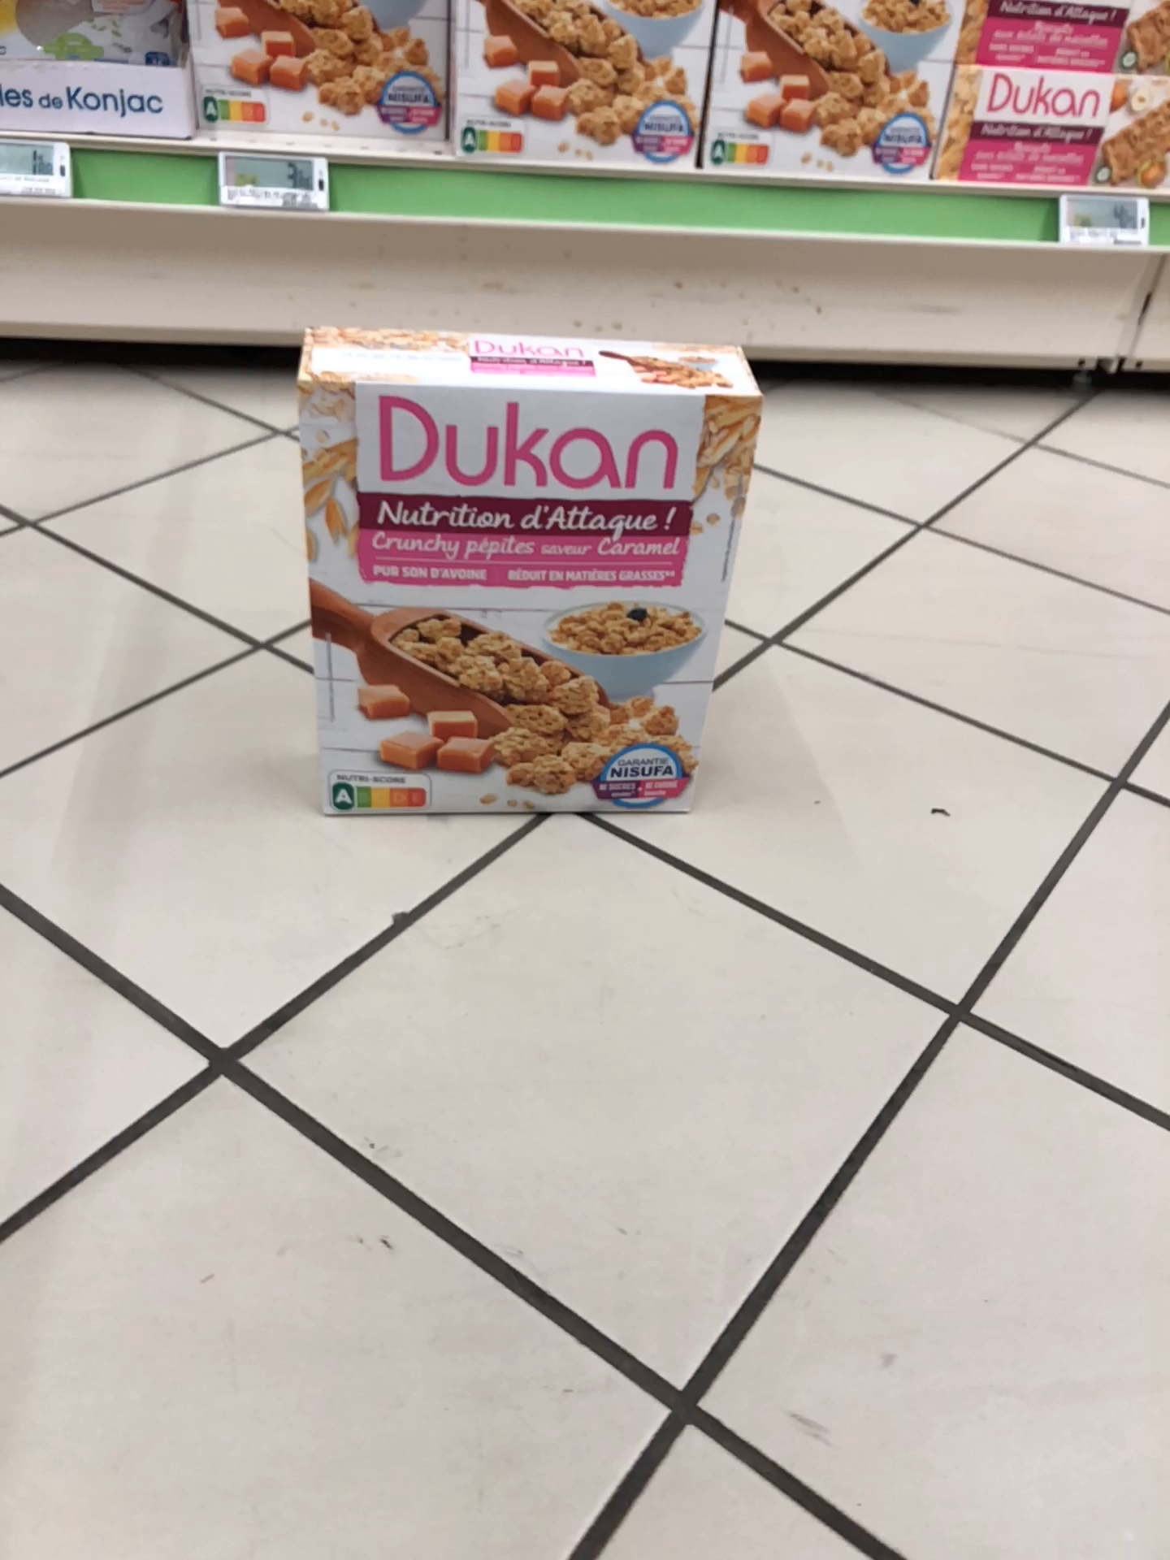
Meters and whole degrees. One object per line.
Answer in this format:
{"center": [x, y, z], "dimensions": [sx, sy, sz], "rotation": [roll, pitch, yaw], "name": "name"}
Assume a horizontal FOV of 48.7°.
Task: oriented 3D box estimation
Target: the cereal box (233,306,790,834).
{"center": [-0.034, -0.076, 0.522], "dimensions": [0.190, 0.199, 0.060], "rotation": [0, 36, -9], "name": "cereal box"}
